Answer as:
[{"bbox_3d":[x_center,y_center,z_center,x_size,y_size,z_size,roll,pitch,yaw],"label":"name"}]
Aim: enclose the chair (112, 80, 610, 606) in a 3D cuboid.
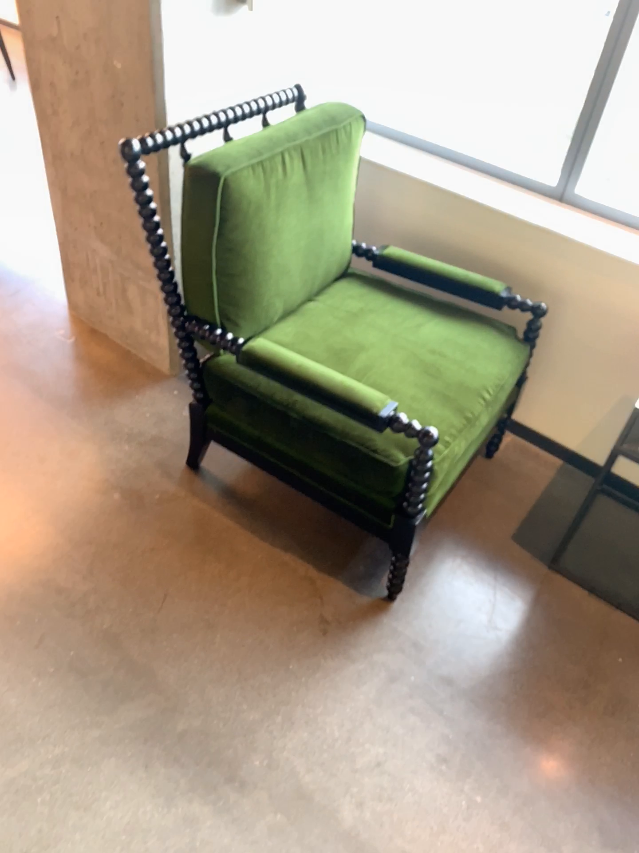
[{"bbox_3d":[0.077,-0.266,1.852,0.922,0.973,0.734,27,46,21],"label":"chair"}]
